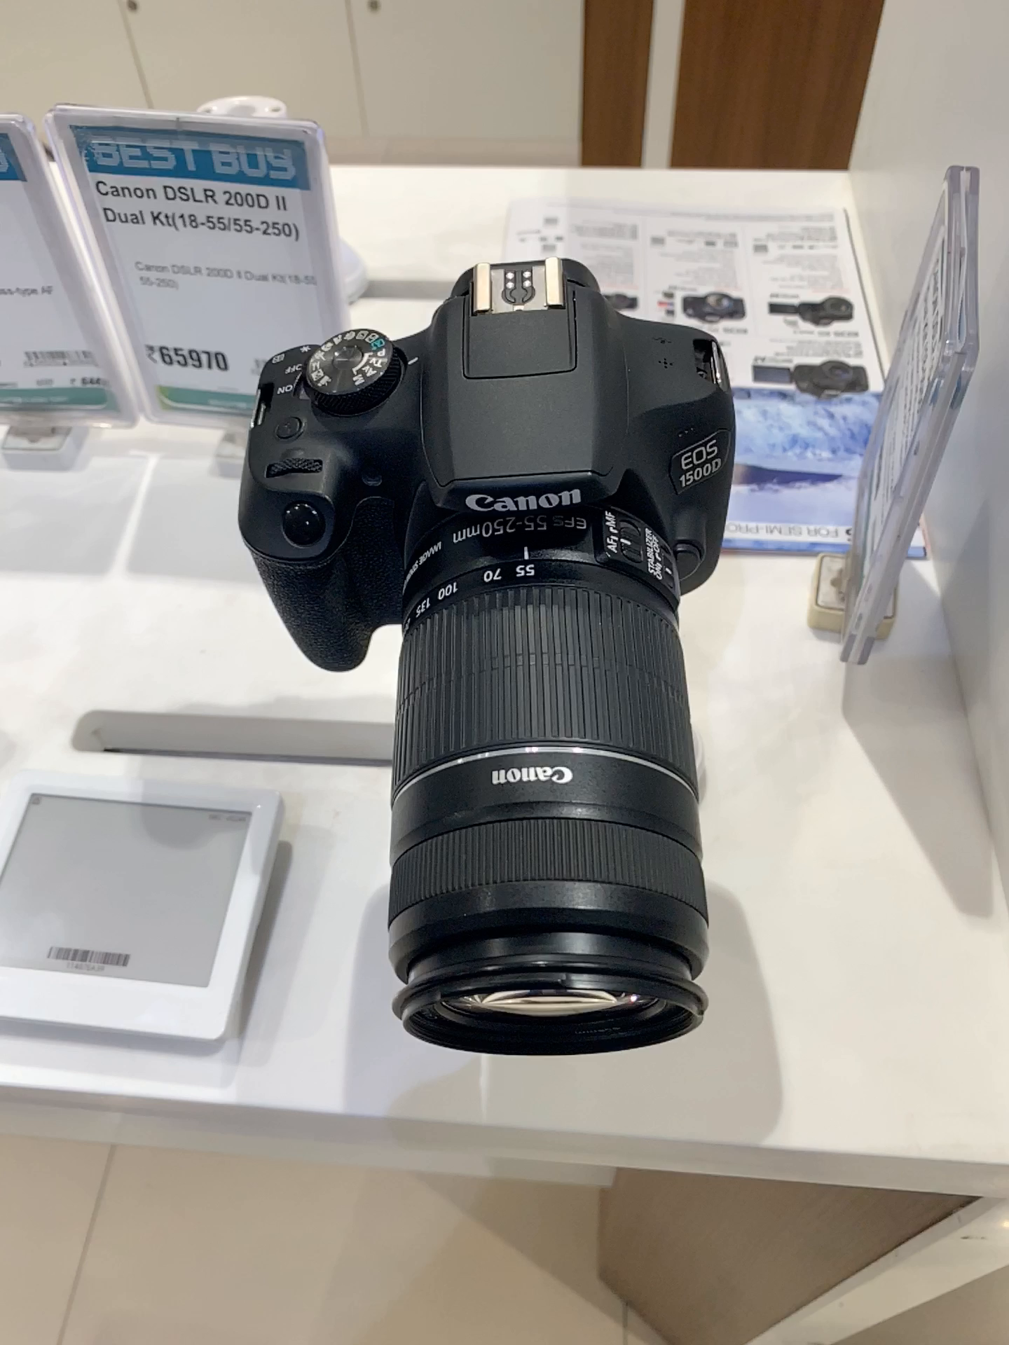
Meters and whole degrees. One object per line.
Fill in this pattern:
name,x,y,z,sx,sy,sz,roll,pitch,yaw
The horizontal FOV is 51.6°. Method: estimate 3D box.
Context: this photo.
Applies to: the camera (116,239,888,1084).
camera,-0.002,-0.003,0.238,0.117,0.090,0.164,-3,61,0
